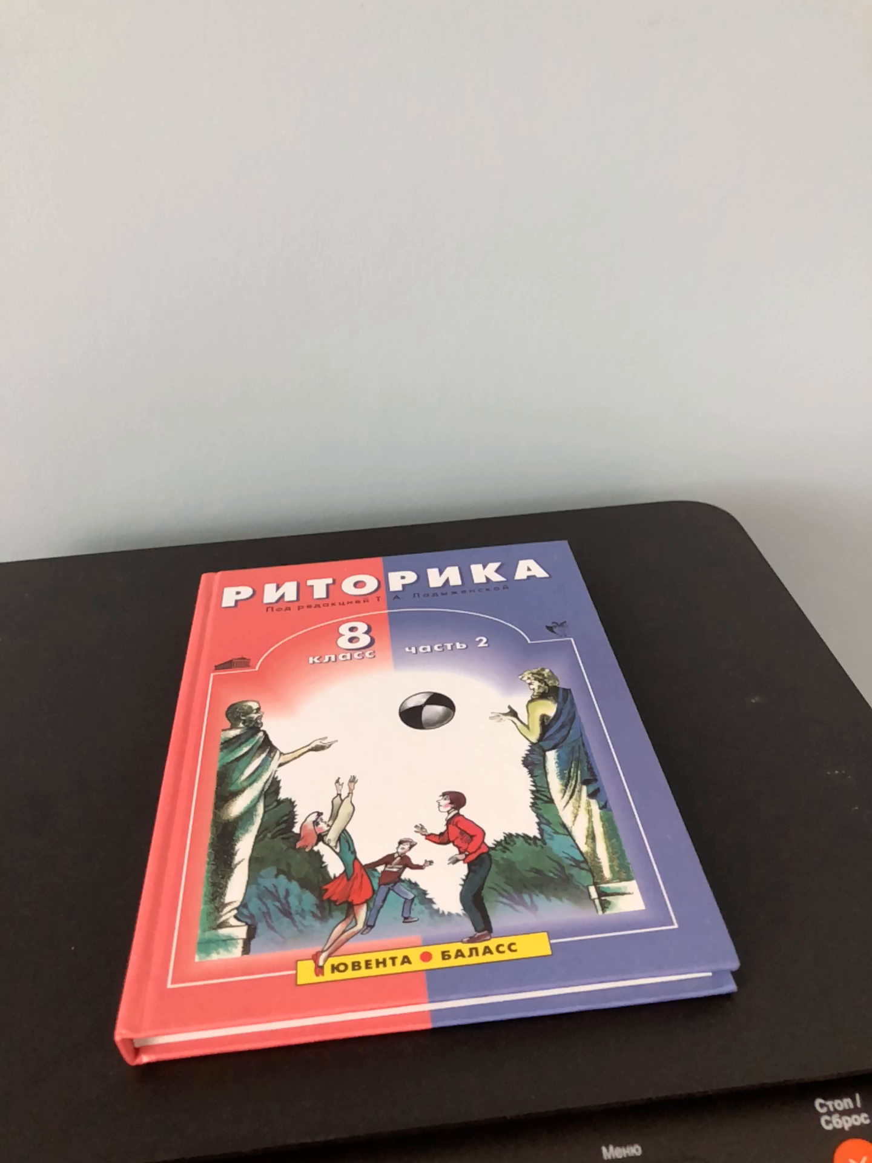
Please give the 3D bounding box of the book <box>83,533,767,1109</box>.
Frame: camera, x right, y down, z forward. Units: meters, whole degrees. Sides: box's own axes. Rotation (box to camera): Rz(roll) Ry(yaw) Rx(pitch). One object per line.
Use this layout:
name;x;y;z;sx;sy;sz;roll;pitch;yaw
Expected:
book;-0.011;0.056;0.335;0.170;0.020;0.222;-5;34;-4
